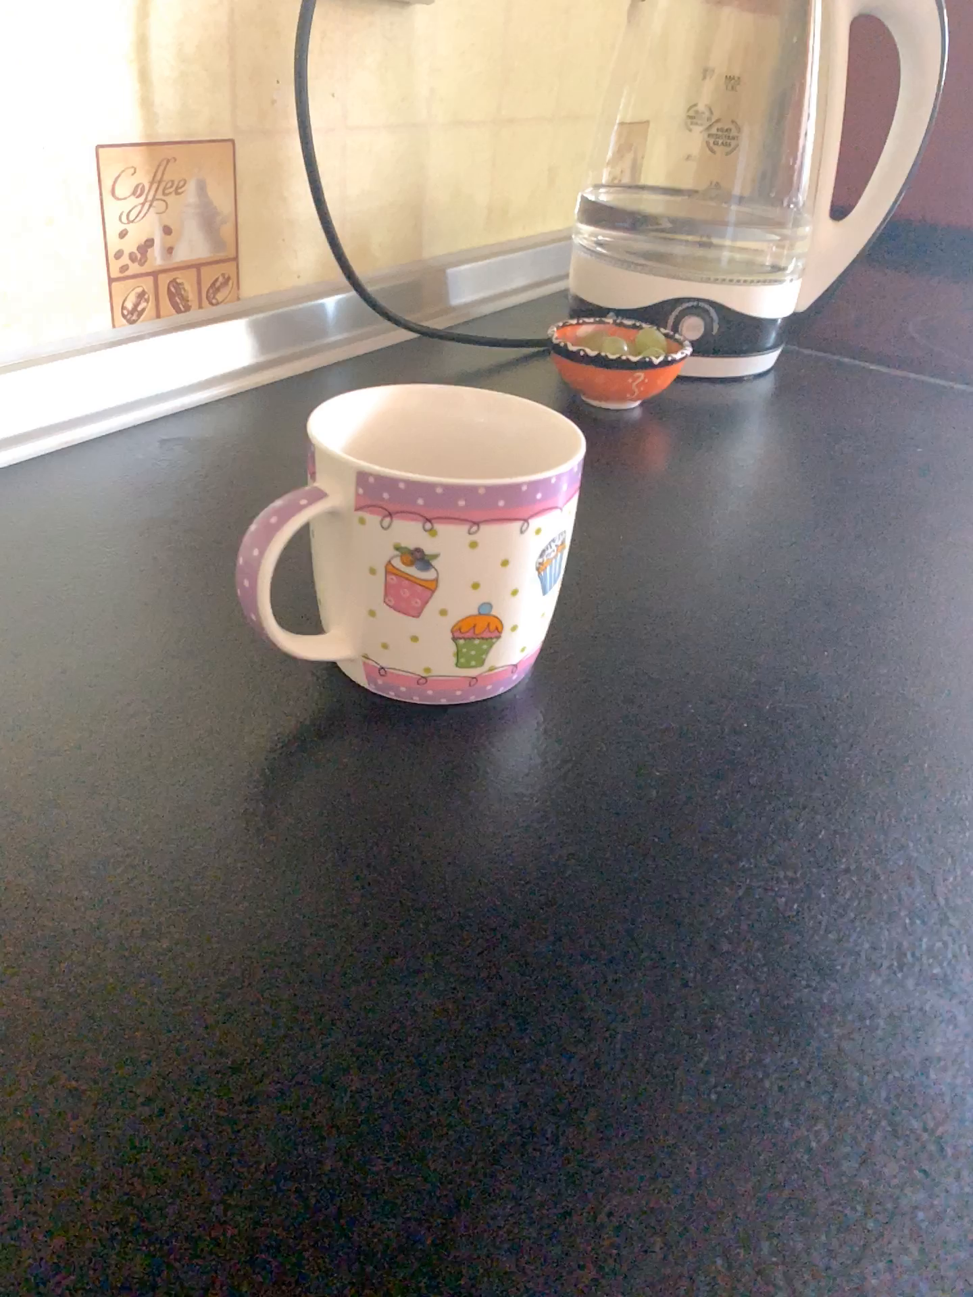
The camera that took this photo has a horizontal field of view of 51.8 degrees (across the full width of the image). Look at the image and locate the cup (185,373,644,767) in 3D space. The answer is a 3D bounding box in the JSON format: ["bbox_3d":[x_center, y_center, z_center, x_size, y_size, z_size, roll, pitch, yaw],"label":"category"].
[{"bbox_3d":[-0.025,-0.032,0.315,0.110,0.080,0.080,-14,36,-30],"label":"cup"}]
